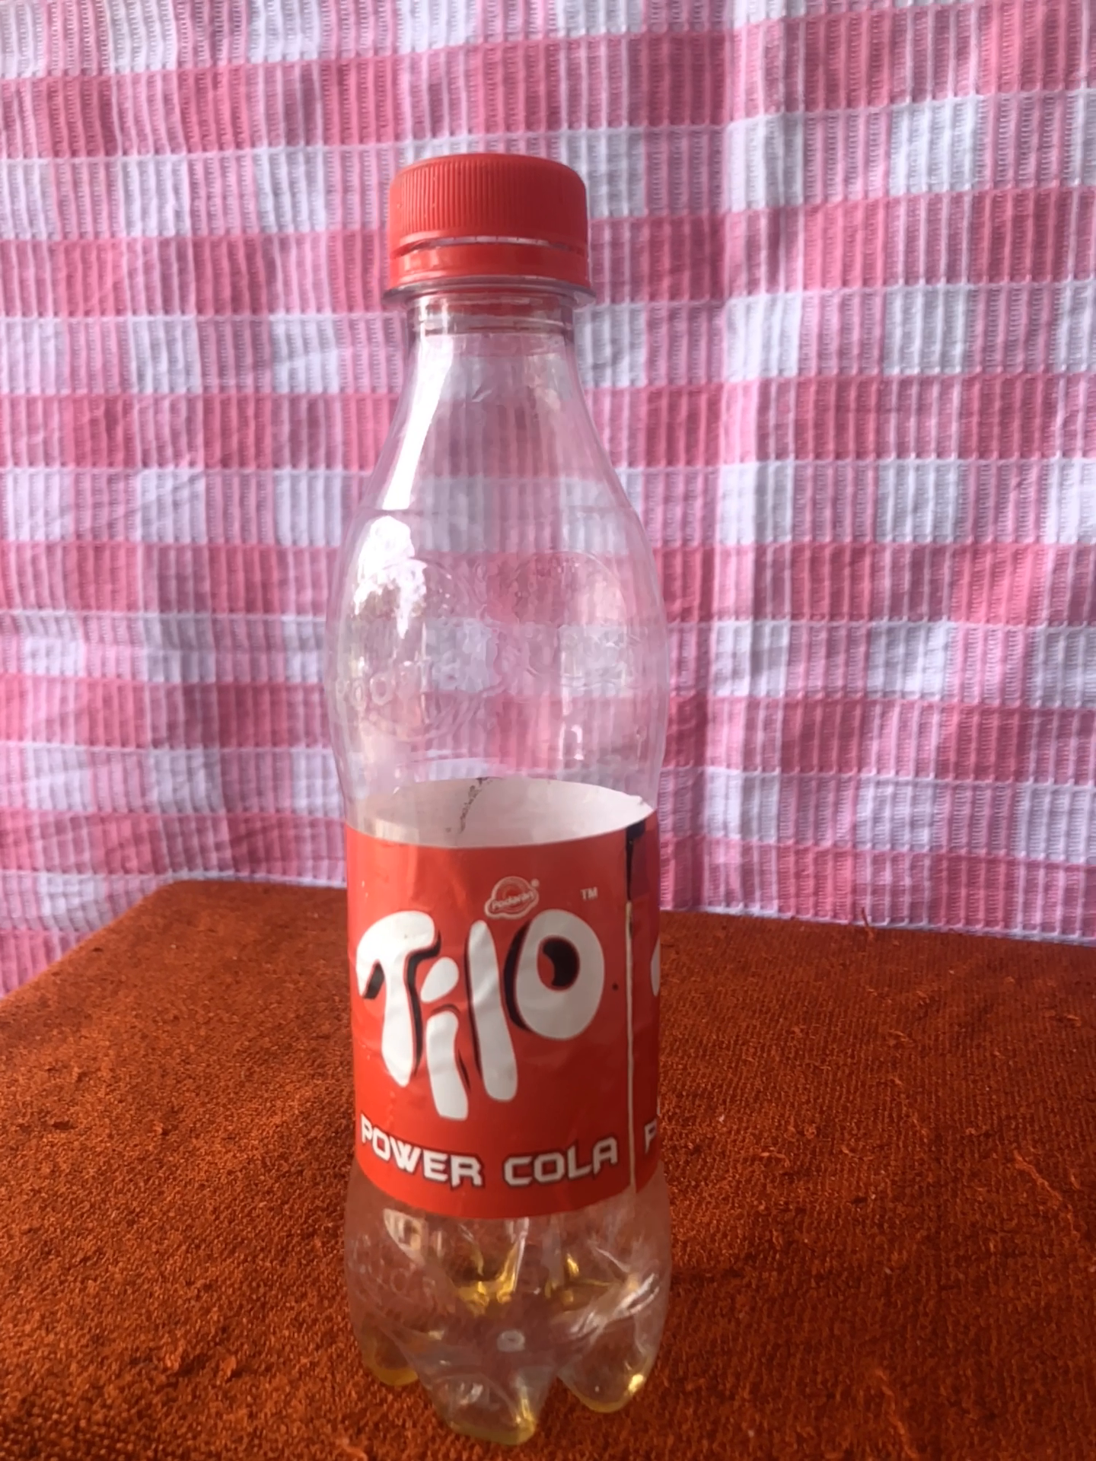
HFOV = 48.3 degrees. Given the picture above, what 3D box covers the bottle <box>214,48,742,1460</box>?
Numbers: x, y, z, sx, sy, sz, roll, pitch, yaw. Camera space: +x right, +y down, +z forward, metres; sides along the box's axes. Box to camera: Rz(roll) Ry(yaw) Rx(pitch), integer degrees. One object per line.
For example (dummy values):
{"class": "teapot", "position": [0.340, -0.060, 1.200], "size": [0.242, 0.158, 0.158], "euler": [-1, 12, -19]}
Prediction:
{"class": "bottle", "position": [-0.005, 0.009, 0.188], "size": [0.060, 0.189, 0.060], "euler": [1, 14, 0]}
